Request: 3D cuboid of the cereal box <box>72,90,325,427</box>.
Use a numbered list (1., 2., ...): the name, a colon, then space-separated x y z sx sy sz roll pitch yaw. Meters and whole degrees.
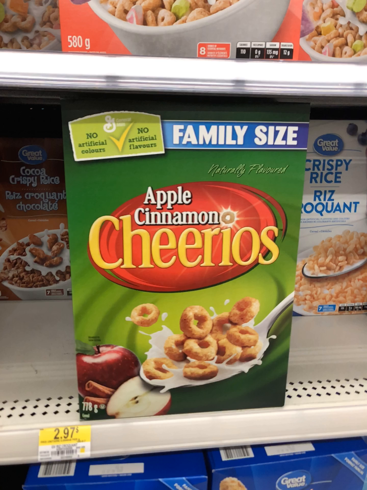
1. cereal box: 0.011 0.018 0.470 0.240 0.358 0.090 -1 15 -7
